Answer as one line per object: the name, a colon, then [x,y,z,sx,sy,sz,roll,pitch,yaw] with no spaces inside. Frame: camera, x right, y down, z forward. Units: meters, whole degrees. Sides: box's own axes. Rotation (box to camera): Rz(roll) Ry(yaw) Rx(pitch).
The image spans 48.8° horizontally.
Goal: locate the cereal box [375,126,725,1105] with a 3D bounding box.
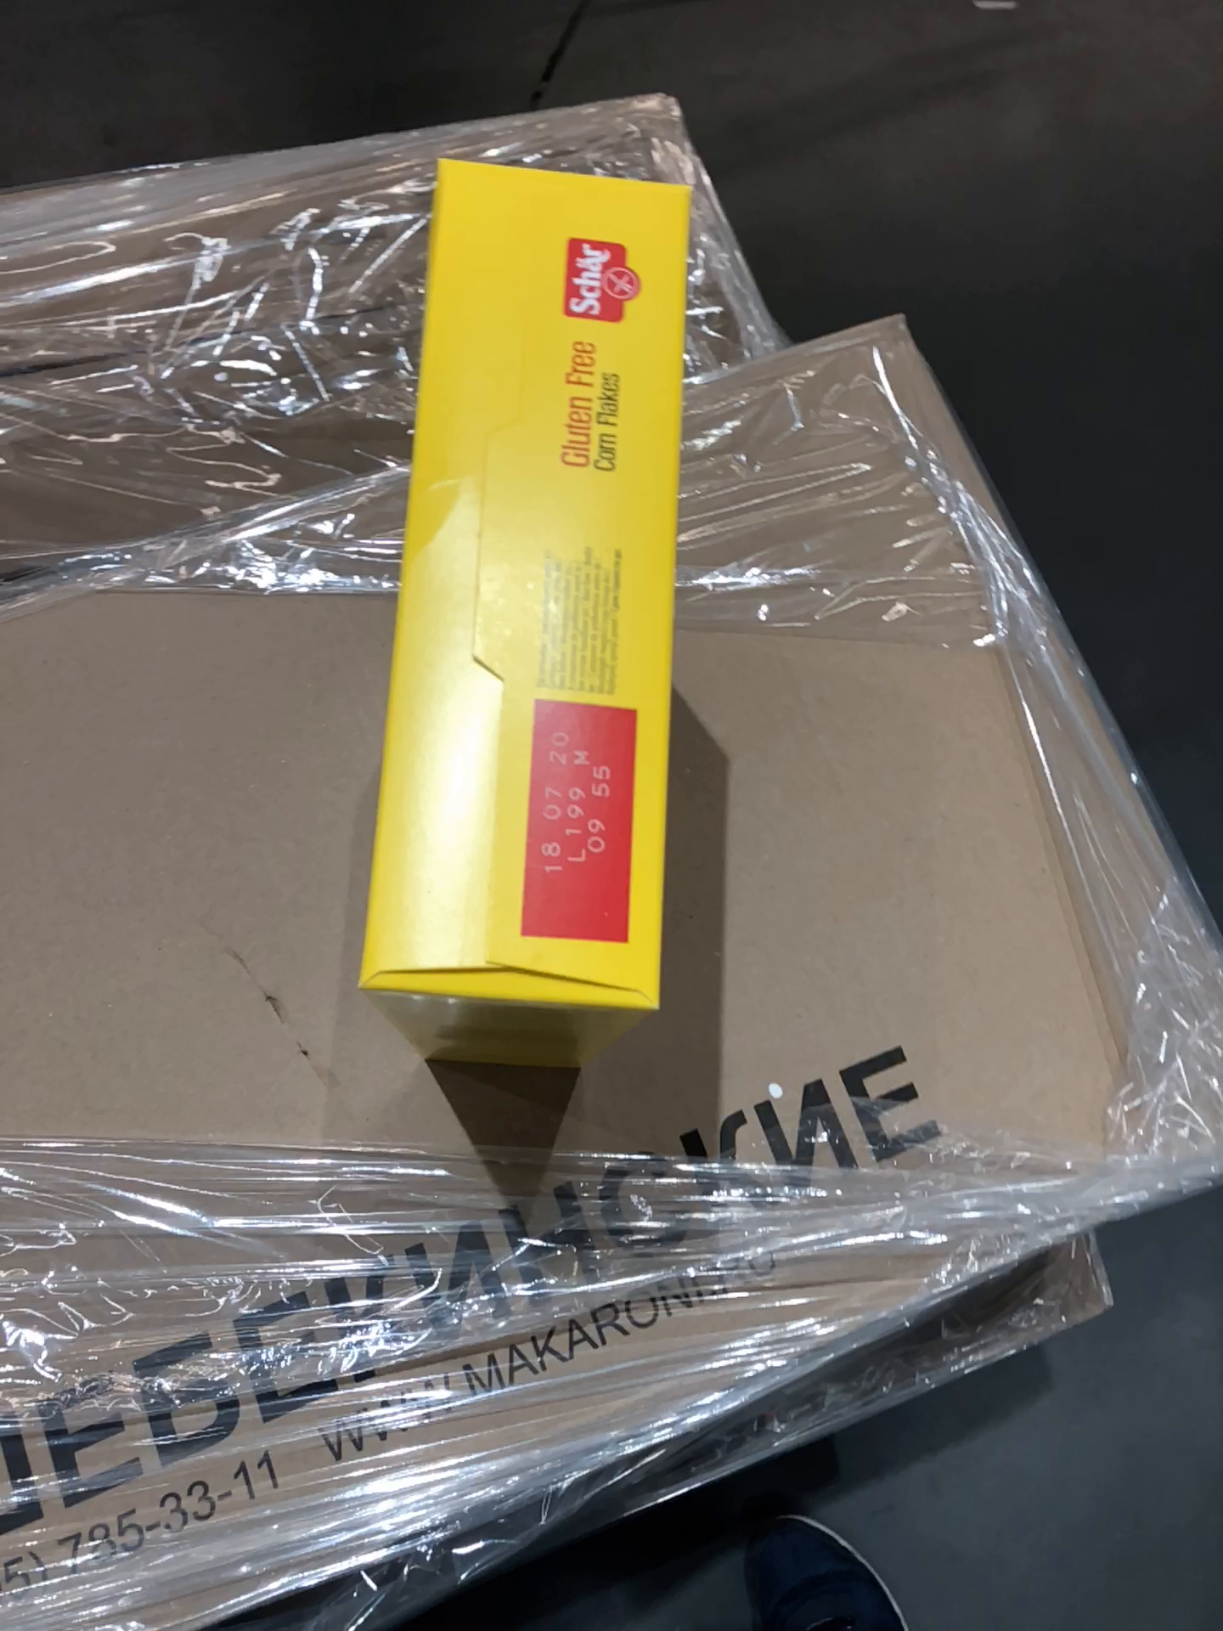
cereal box: [-0.020,-0.024,0.396,0.060,0.250,0.200,4,75,-4]
